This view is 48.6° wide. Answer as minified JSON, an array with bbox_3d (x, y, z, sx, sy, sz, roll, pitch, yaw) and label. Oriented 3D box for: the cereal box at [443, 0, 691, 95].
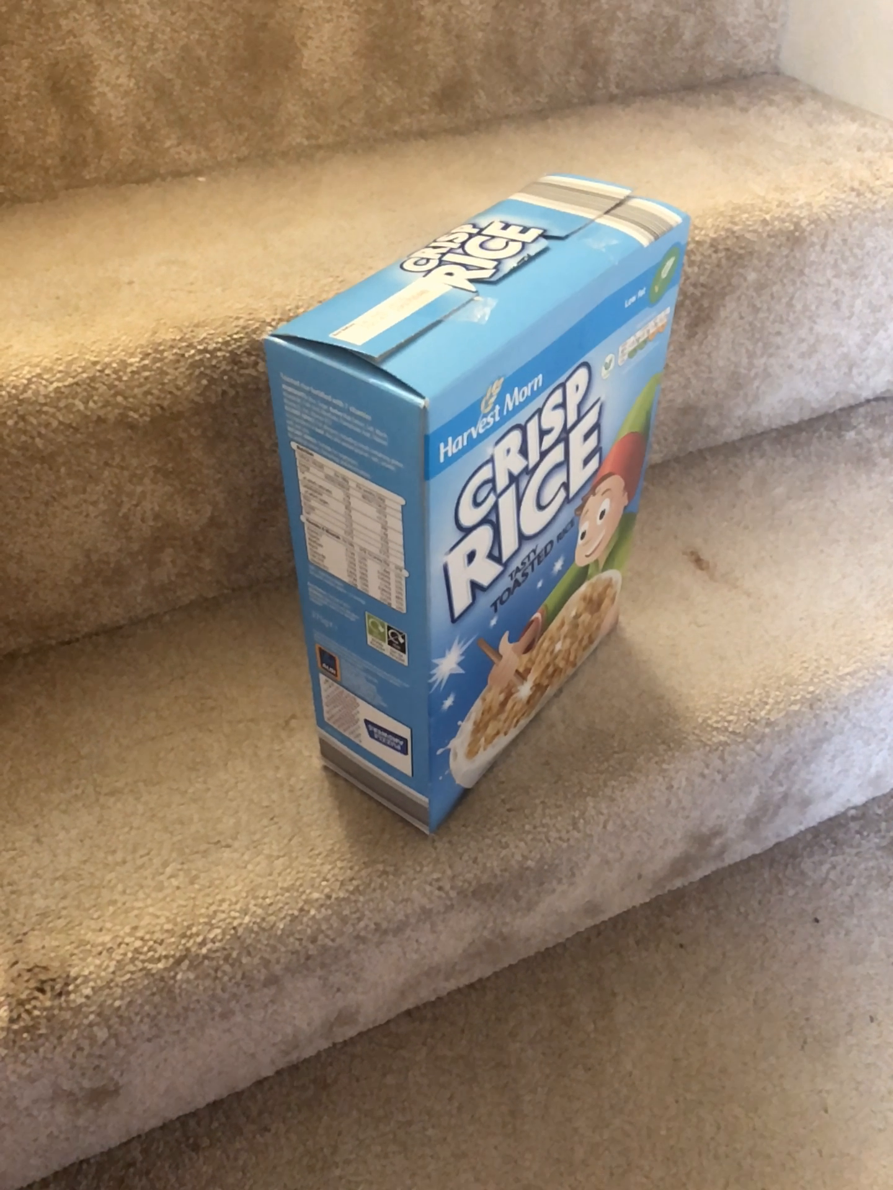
[{"bbox_3d":[0.444,-2.801,4.193,0.760,0.993,0.795,-8,44,-9],"label":"cereal box"}]
